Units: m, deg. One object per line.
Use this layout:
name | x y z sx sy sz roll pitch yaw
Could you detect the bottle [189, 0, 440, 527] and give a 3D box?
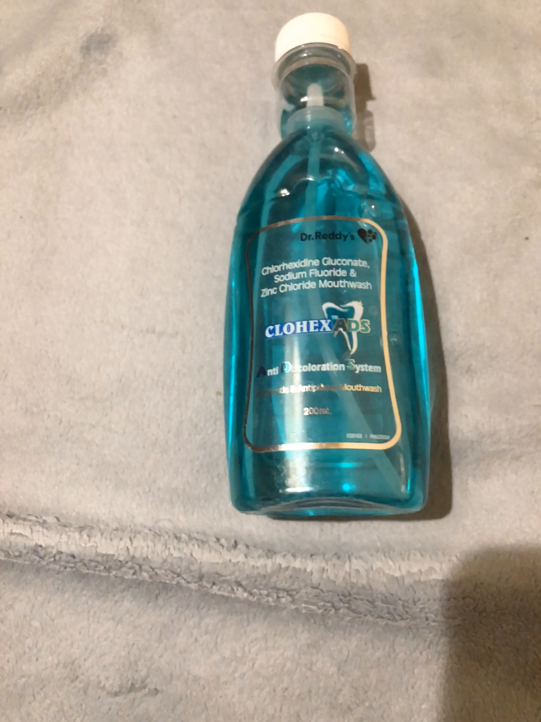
bottle | 0.012 -0.050 0.220 0.070 0.040 0.210 -3 72 7
